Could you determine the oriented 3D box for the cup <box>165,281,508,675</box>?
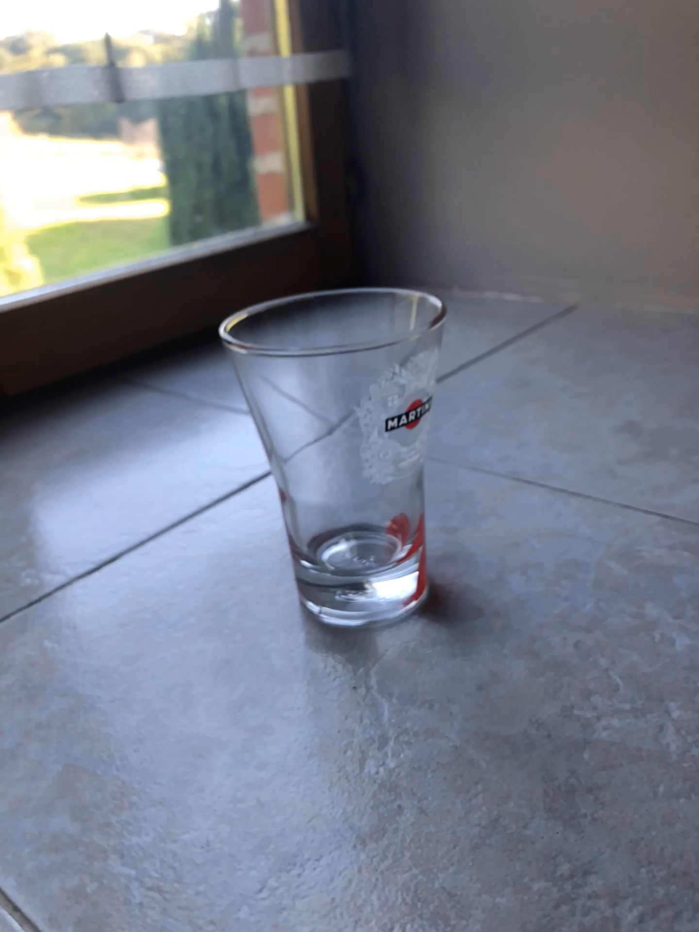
[{"bbox_3d":[-0.002,-0.004,0.326,0.096,0.116,0.092,-3,26,2],"label":"cup"}]
